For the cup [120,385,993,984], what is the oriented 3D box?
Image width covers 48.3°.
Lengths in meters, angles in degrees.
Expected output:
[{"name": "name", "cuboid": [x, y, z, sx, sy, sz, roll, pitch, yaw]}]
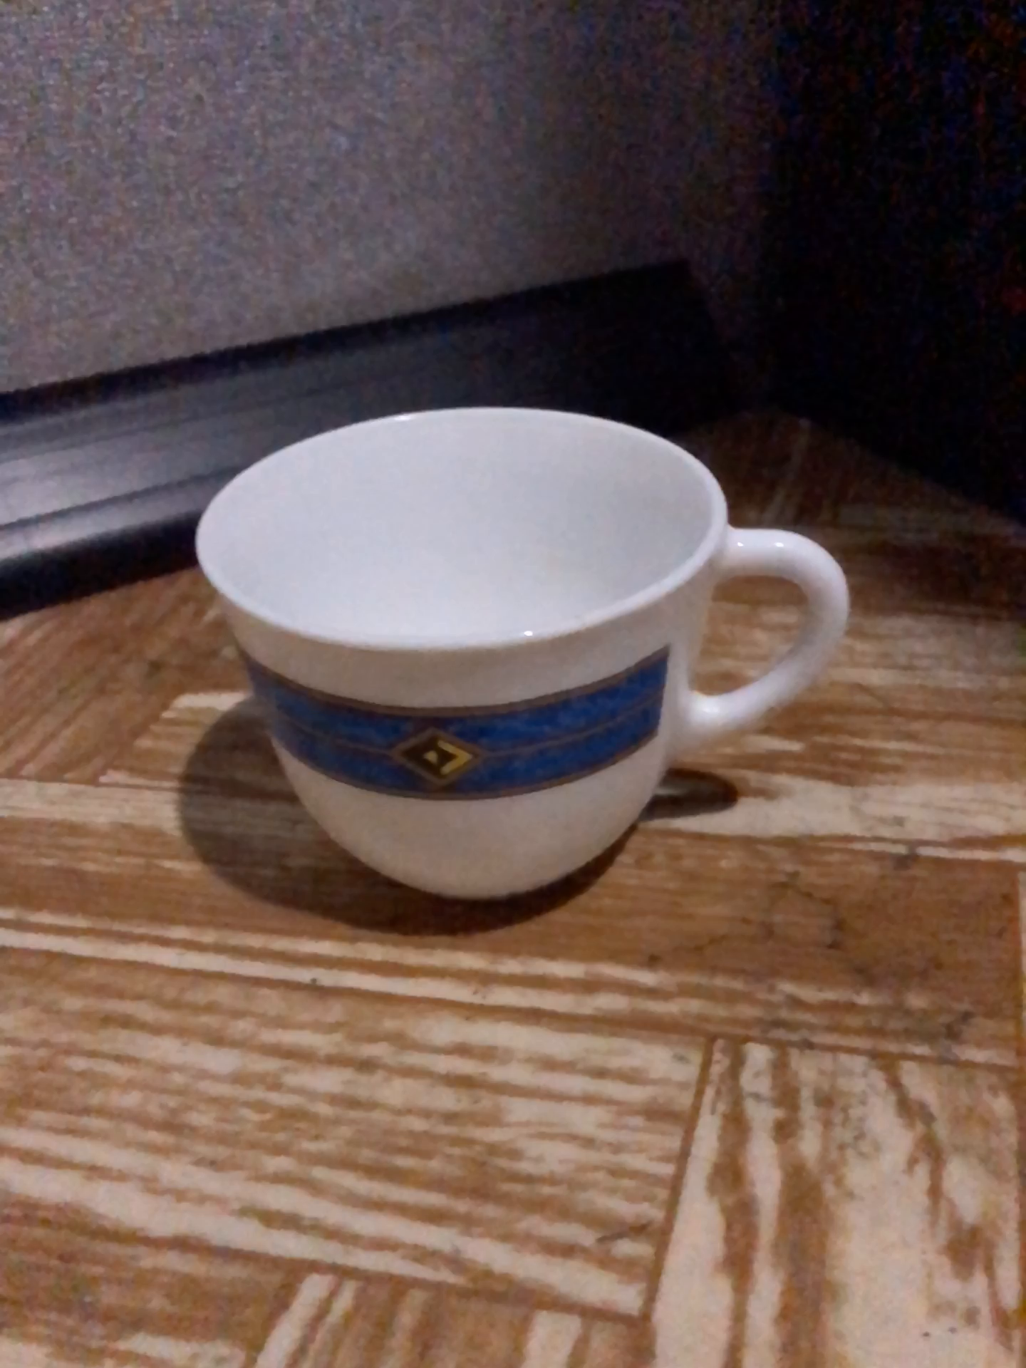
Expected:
[{"name": "cup", "cuboid": [0.006, -0.005, 0.198, 0.110, 0.062, 0.088, -1, 34, 1]}]
